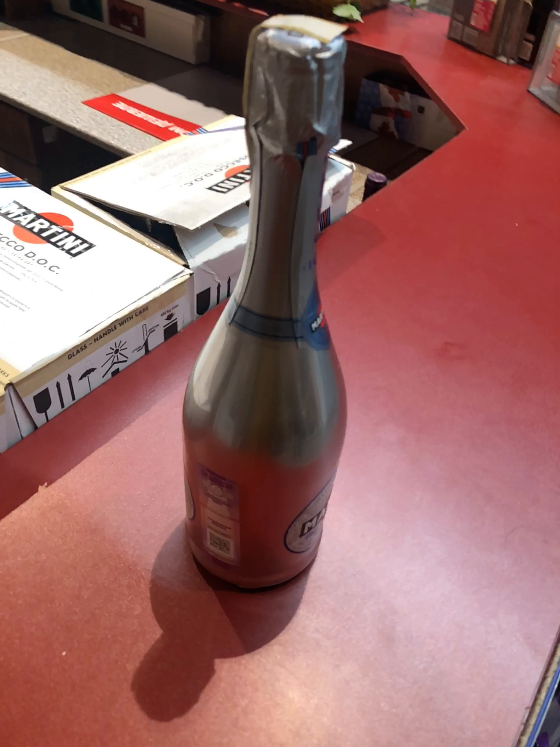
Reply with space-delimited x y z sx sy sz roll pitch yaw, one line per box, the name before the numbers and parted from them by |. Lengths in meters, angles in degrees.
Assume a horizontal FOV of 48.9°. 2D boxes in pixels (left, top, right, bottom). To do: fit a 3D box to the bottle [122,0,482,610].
bottle | 0.002 -0.011 0.308 0.100 0.298 0.101 4 43 -4
